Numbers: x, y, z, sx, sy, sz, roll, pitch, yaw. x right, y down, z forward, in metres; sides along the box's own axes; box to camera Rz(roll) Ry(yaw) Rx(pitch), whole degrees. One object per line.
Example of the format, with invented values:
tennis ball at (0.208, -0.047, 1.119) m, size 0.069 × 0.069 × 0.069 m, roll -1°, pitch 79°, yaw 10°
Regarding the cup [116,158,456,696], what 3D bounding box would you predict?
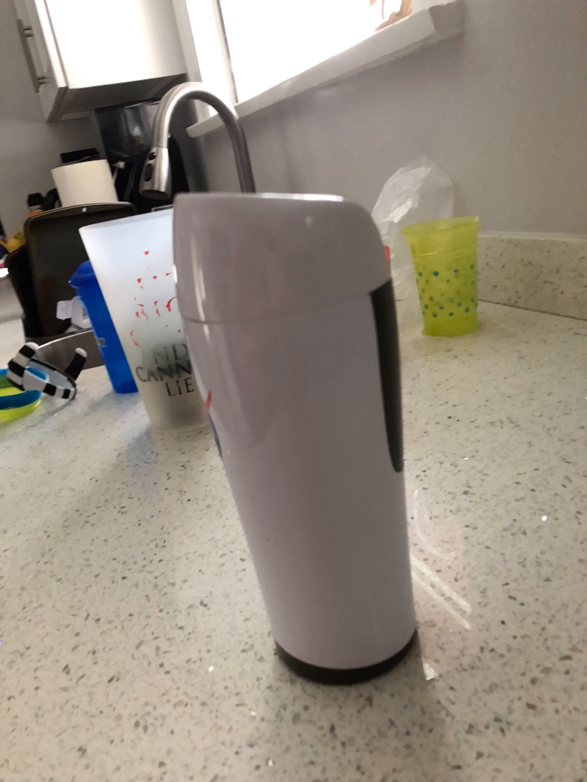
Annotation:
cup at (0.006, 0.013, 0.249) m, size 0.081 × 0.182 × 0.078 m, roll -10°, pitch 19°, yaw 3°
